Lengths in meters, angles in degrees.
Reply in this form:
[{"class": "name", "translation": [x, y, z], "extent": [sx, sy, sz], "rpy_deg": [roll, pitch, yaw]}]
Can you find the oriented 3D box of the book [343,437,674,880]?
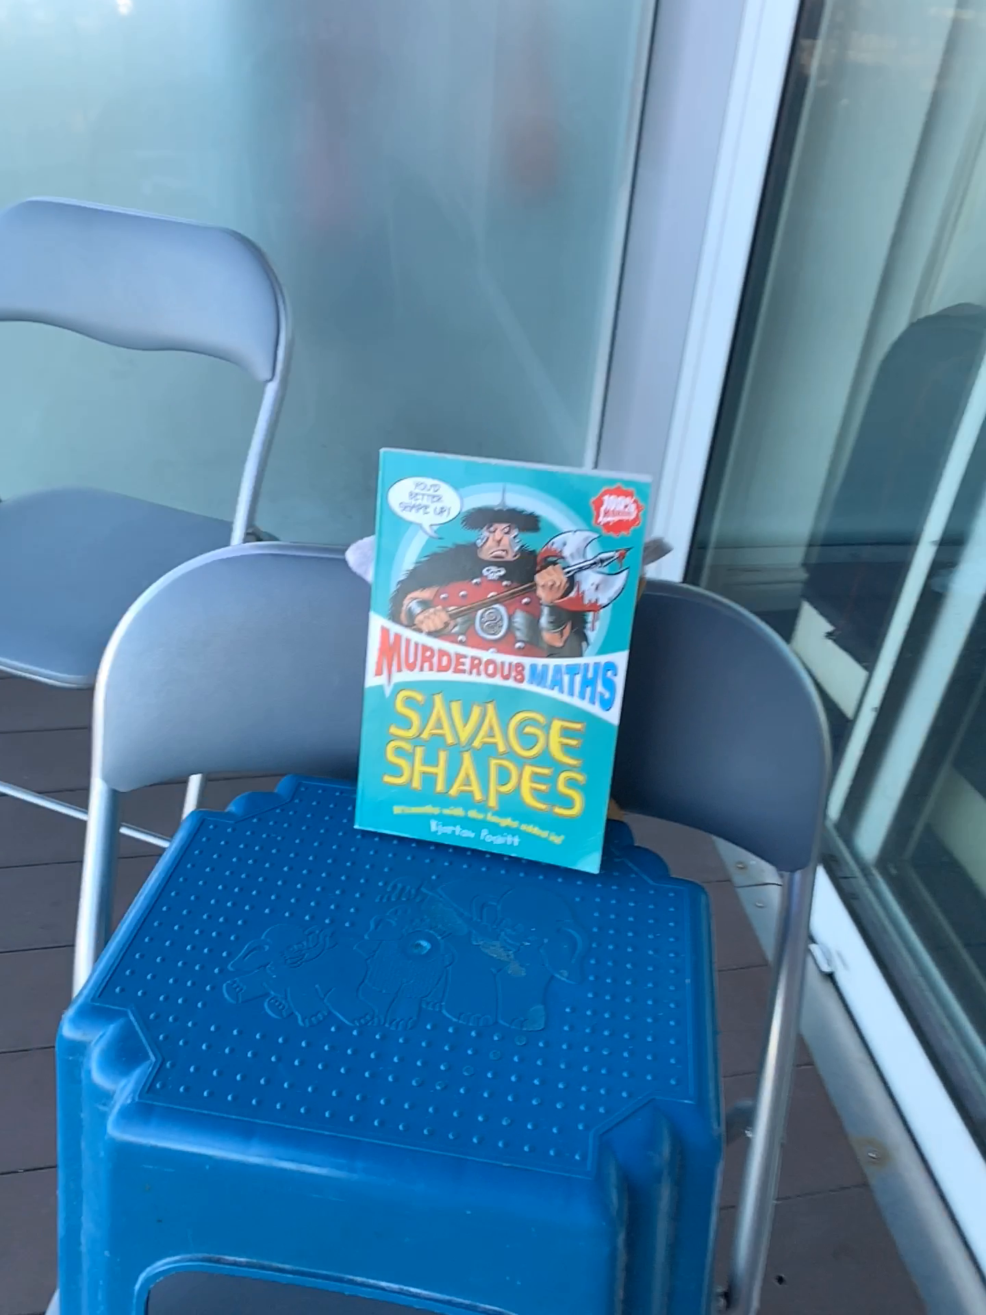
[{"class": "book", "translation": [0.004, 0.002, 0.487], "extent": [0.133, 0.193, 0.029], "rpy_deg": [9, 15, 6]}]
